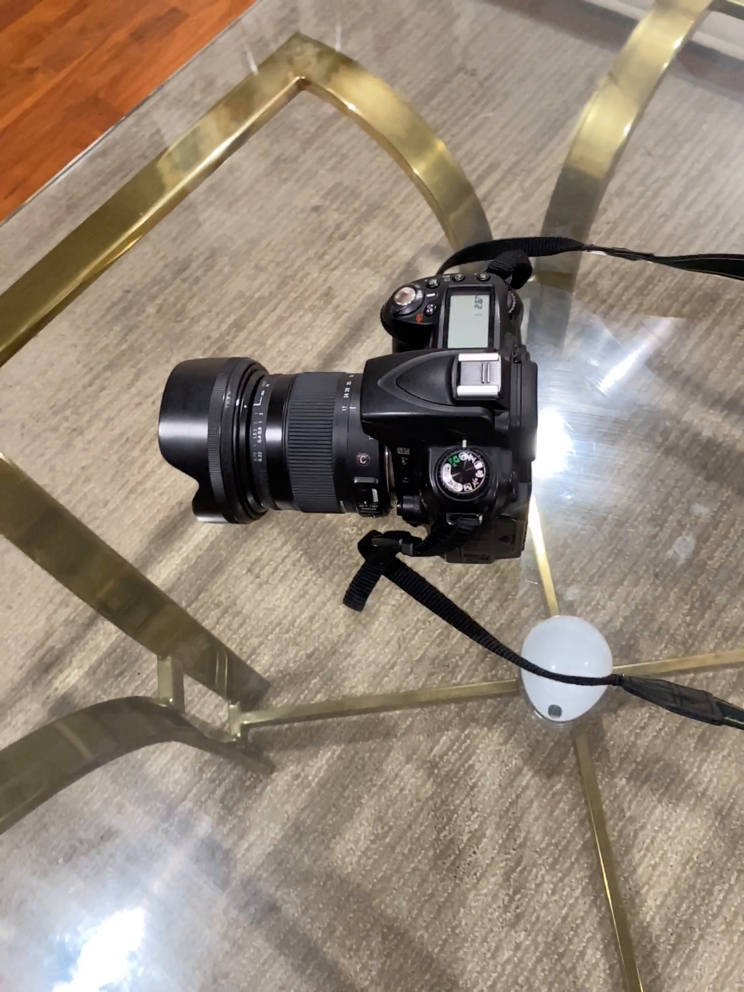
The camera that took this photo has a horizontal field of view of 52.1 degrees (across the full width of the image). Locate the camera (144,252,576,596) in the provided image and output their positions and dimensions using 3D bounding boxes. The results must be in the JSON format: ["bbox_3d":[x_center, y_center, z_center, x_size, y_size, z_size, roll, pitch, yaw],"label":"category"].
[{"bbox_3d":[0.001,-0.029,0.396,0.180,0.120,0.130,-1,65,7],"label":"camera"}]
